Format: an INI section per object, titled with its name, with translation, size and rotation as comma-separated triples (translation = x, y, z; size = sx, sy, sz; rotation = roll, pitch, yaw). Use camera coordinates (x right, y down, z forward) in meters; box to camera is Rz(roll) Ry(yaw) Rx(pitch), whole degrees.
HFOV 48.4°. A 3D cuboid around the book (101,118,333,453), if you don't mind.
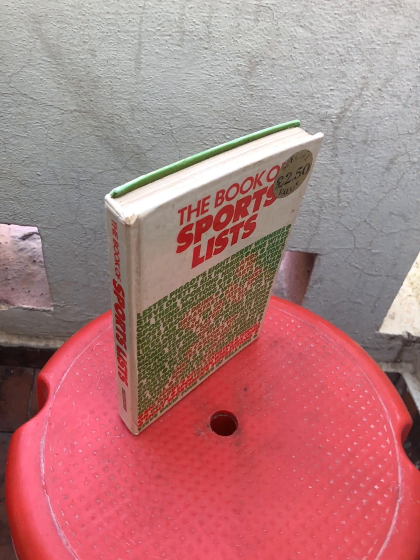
[book]
translation = -0.001, 0.013, 0.331
size = 0.150, 0.219, 0.030
rotation = -31, 57, -34
